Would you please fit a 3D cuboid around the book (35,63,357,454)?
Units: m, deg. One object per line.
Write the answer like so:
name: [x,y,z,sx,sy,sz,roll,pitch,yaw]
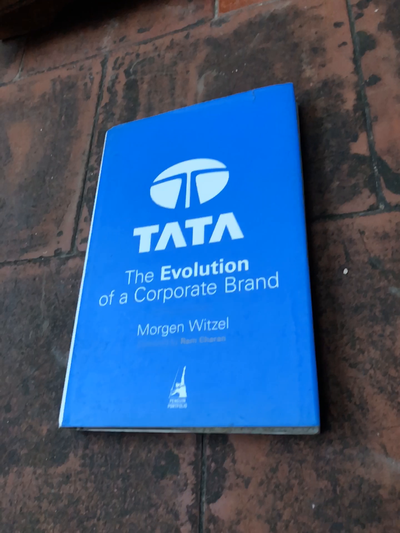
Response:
book: [-0.001,-0.011,0.291,0.170,0.040,0.240,-7,63,19]
